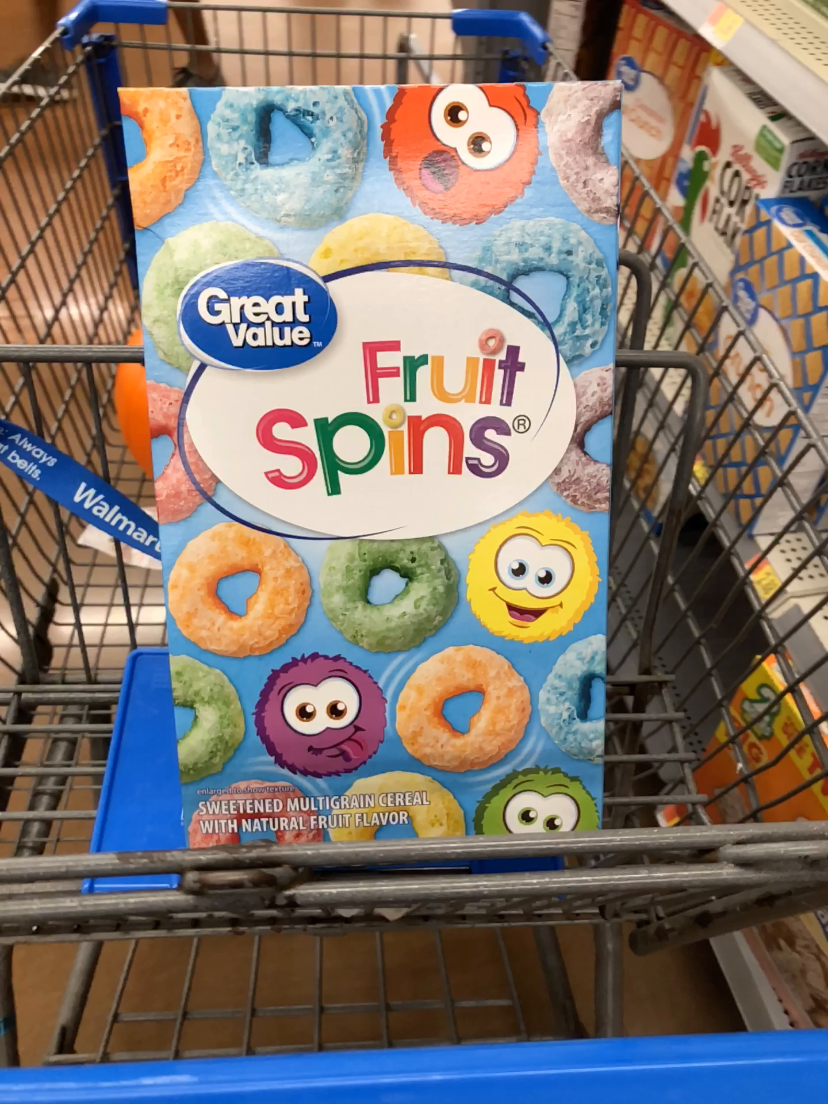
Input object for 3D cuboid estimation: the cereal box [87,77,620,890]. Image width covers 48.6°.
[{"bbox_3d":[-0.021,-0.024,0.429,0.200,0.340,0.090,-2,14,-4],"label":"cereal box"}]
